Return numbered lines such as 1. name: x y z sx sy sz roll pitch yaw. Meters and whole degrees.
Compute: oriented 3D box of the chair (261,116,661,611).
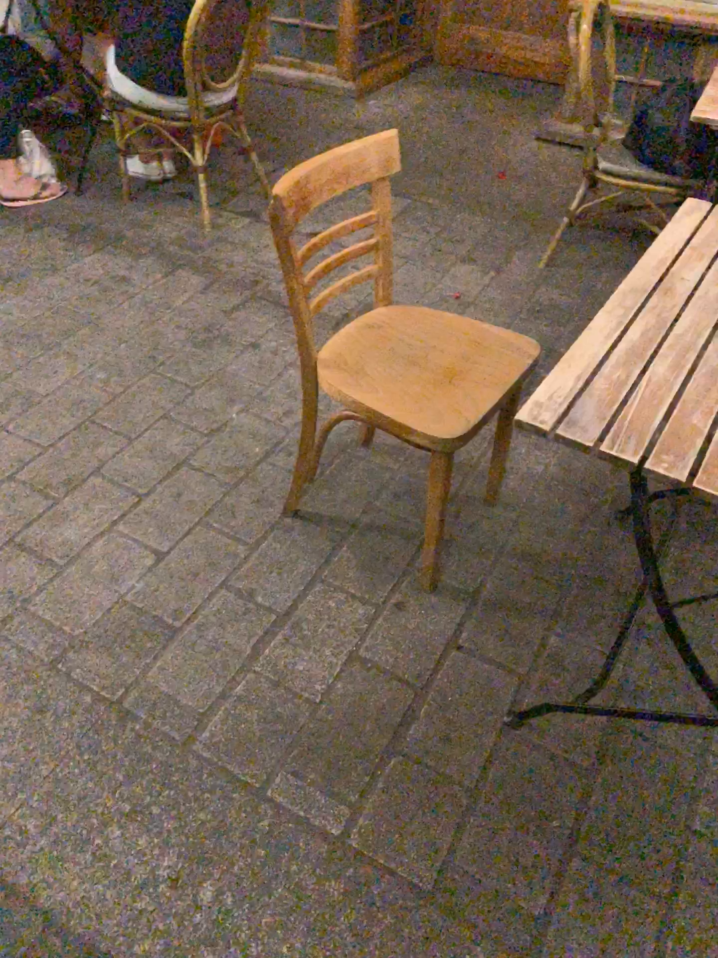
1. chair: 0.185 -0.249 1.550 0.541 0.762 0.514 24 46 22
